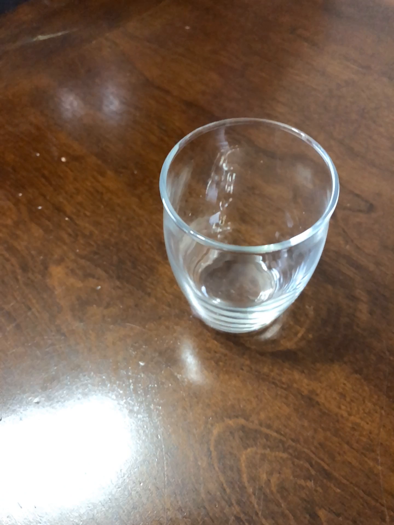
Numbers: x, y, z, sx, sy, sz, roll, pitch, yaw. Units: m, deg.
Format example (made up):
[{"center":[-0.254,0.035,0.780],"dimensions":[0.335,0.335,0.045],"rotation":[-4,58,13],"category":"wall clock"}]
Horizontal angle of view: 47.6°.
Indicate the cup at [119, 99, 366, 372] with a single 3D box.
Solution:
[{"center":[0.017,-0.008,0.173],"dimensions":[0.060,0.070,0.060],"rotation":[-1,58,2],"category":"cup"}]
